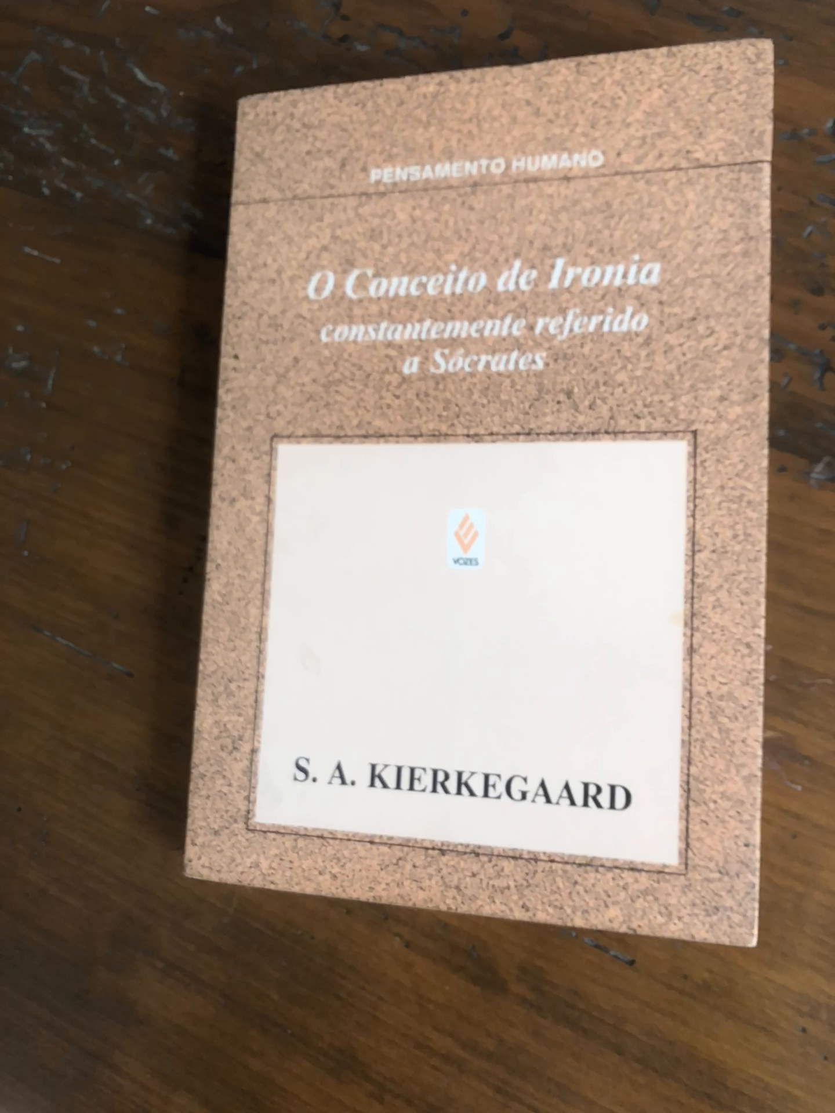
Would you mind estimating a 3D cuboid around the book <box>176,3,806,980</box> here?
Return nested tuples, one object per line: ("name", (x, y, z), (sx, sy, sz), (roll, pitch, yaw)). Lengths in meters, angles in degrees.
("book", (0.018, -0.021, 0.239), (0.144, 0.024, 0.220), (2, 85, 15))
